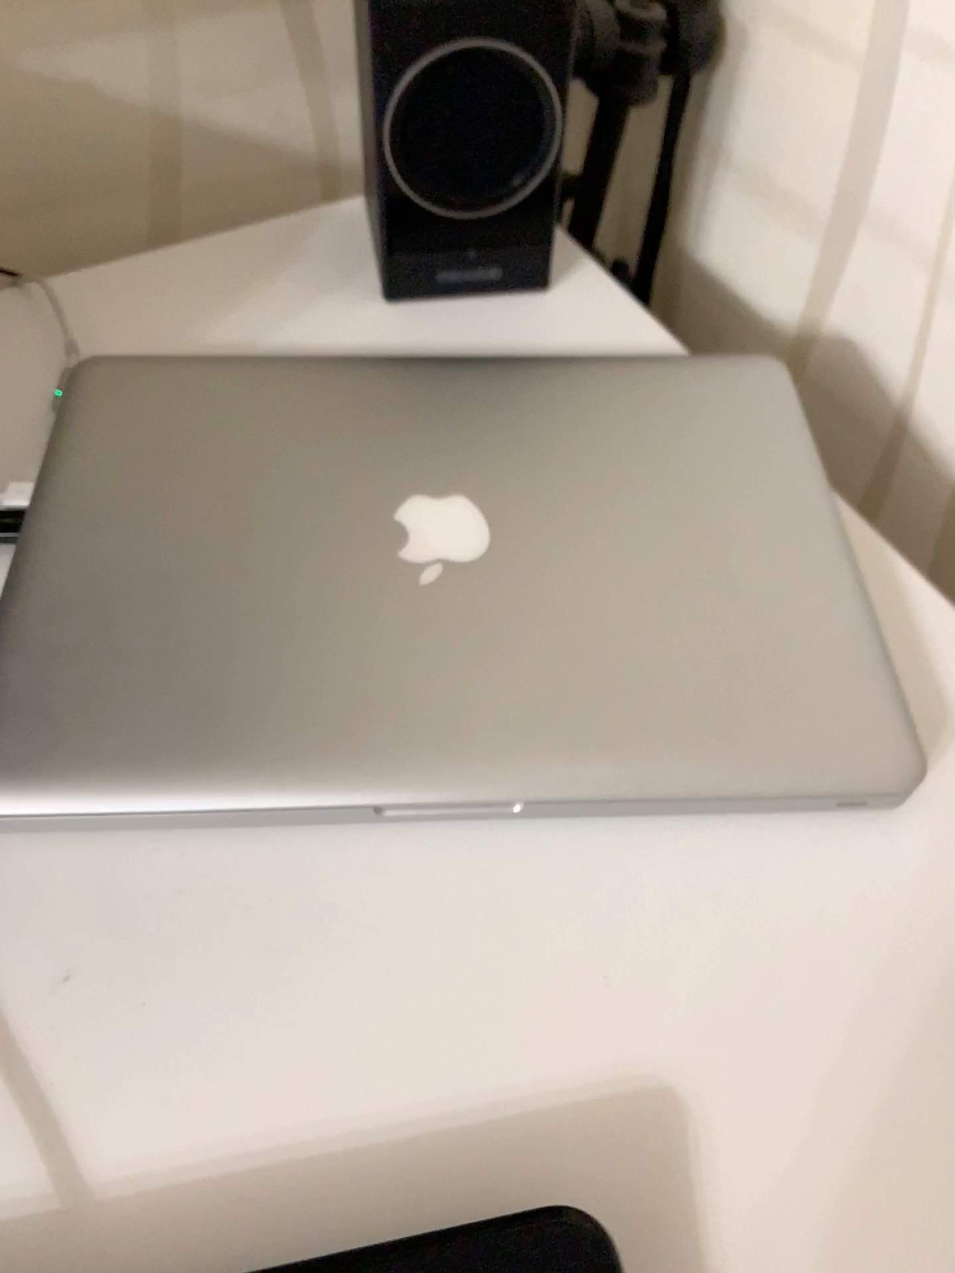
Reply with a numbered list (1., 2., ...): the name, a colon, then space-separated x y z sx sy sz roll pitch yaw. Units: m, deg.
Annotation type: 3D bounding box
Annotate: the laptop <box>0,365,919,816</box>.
1. laptop: -0.013 -0.032 0.384 0.304 0.011 0.208 -1 55 -3
